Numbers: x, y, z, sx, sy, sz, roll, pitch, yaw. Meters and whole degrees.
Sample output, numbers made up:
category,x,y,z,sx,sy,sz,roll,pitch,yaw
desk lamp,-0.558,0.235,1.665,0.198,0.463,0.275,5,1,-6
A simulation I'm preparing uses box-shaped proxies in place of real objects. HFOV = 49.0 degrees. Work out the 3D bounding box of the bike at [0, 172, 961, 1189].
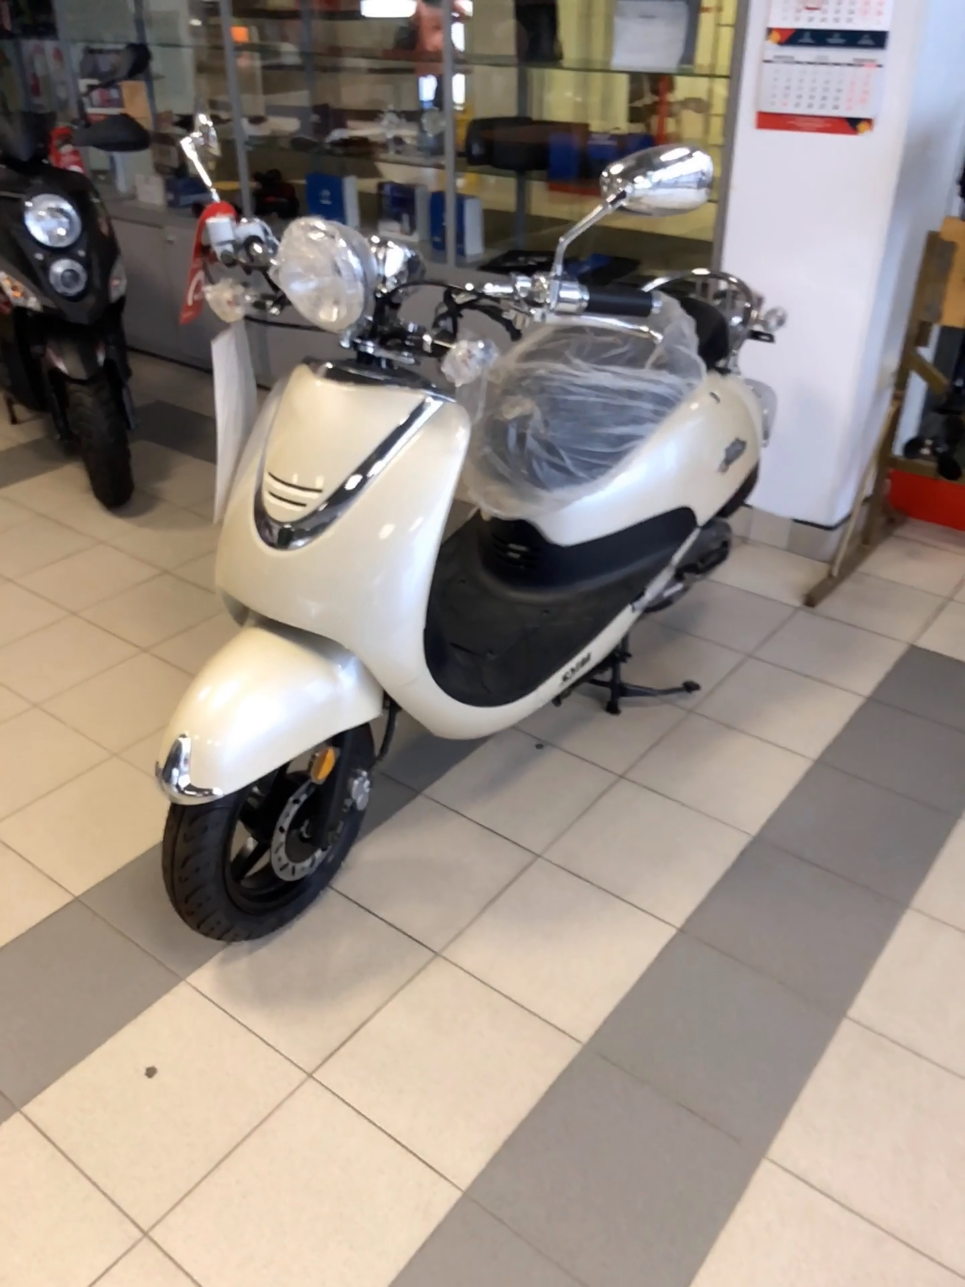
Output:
category,x,y,z,sx,sy,sz,roll,pitch,yaw
bike,0.106,-0.184,1.996,0.806,0.963,1.688,22,40,33
